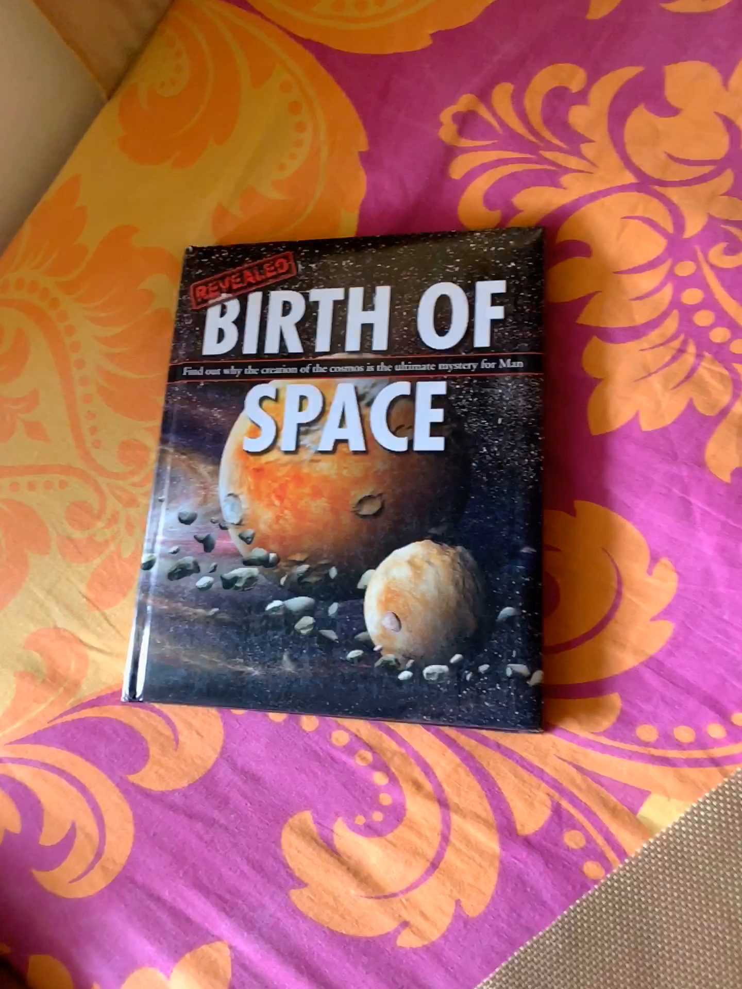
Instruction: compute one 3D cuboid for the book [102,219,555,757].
[{"bbox_3d":[-0.017,-0.013,0.384,0.211,0.020,0.258,1,76,12],"label":"book"}]
